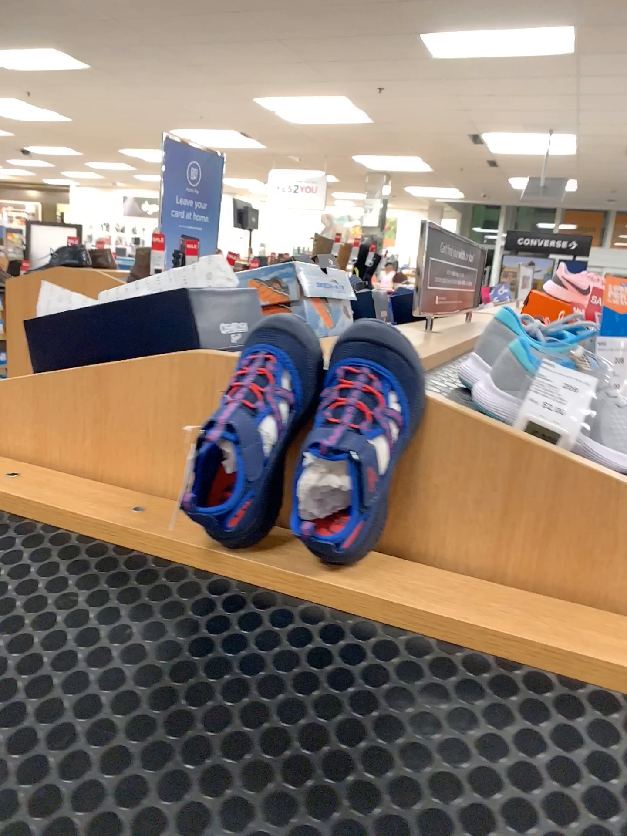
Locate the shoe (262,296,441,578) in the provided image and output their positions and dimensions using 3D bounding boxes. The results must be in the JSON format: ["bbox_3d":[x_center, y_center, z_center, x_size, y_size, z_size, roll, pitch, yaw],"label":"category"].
[{"bbox_3d":[0.034,0.015,0.491,0.080,0.190,0.080,10,-8,21],"label":"shoe"}]

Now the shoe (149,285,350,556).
[{"bbox_3d":[-0.045,0.006,0.514,0.080,0.190,0.100,11,-8,23],"label":"shoe"}]
